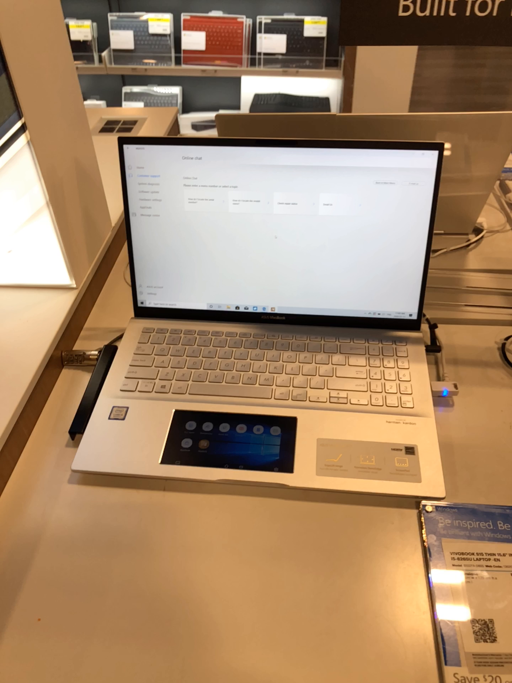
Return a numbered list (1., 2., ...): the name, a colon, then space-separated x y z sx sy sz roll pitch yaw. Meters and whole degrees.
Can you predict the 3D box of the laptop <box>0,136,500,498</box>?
1. laptop: 0.008 -0.042 0.535 0.330 0.189 0.285 3 42 6
